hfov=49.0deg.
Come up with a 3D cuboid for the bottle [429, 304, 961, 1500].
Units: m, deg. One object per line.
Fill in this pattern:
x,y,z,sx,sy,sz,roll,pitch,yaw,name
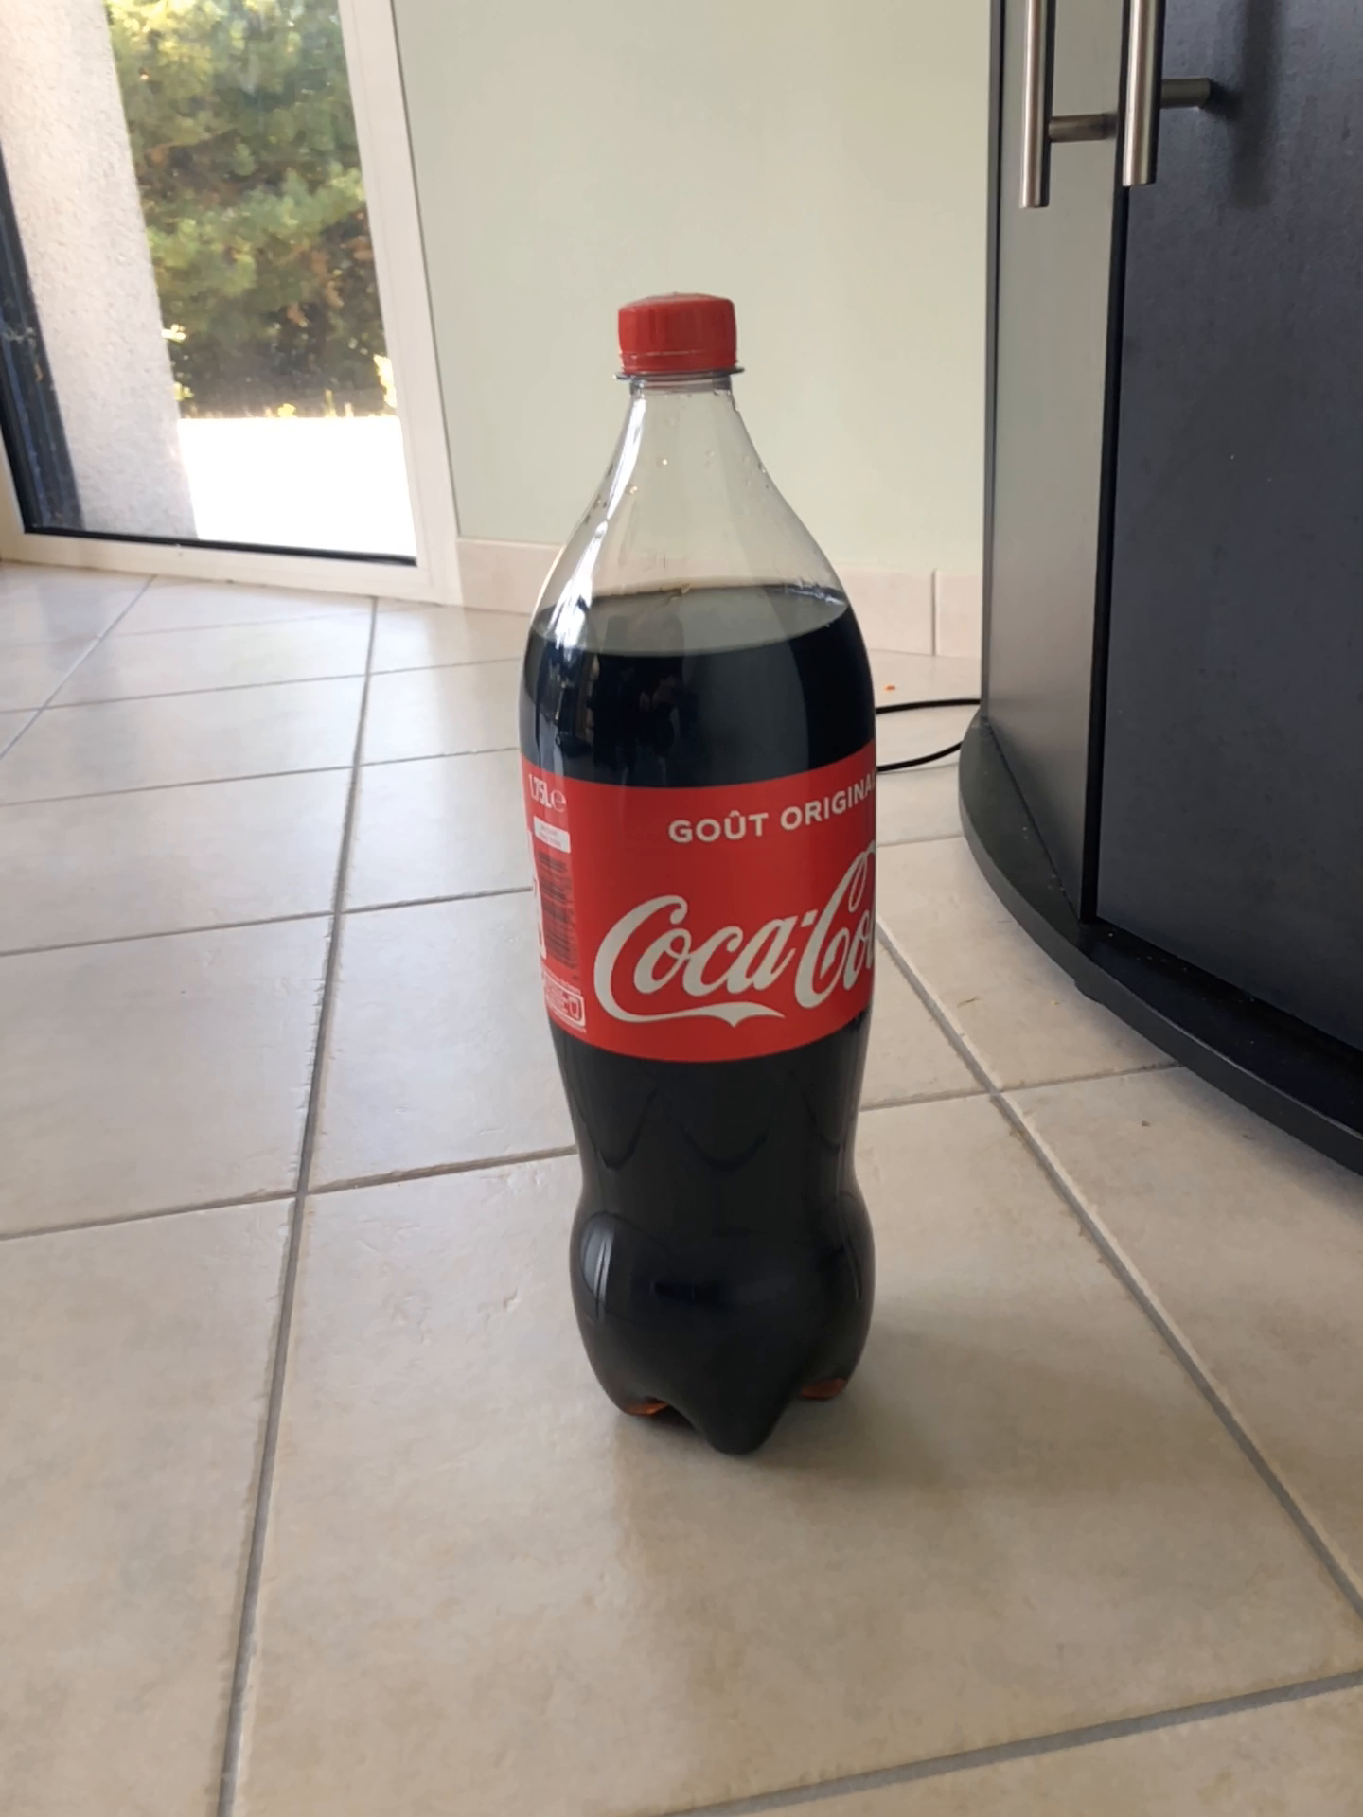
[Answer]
0.006,0.000,0.421,0.110,0.308,0.100,-3,23,1,bottle
